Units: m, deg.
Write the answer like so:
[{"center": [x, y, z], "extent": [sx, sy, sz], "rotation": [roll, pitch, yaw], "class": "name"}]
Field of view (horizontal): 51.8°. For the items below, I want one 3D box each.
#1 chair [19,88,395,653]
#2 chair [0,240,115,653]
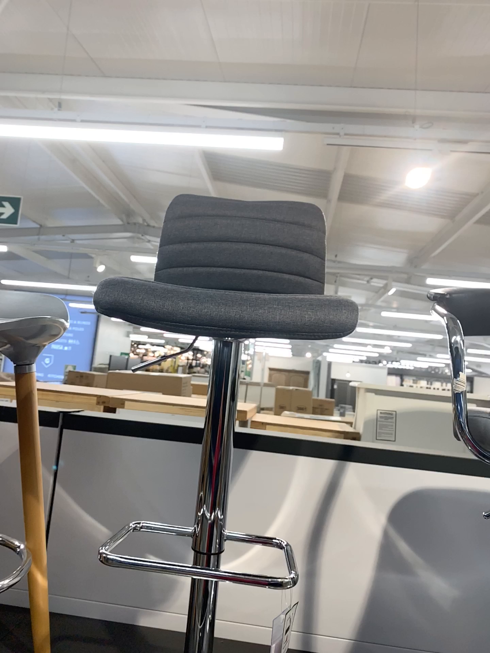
[{"center": [-0.029, 0.177, 0.945], "extent": [0.445, 1.033, 0.451], "rotation": [5, -7, 2], "class": "chair"}, {"center": [-0.552, 0.285, 0.882], "extent": [0.445, 0.742, 0.451], "rotation": [5, -6, 2], "class": "chair"}]
